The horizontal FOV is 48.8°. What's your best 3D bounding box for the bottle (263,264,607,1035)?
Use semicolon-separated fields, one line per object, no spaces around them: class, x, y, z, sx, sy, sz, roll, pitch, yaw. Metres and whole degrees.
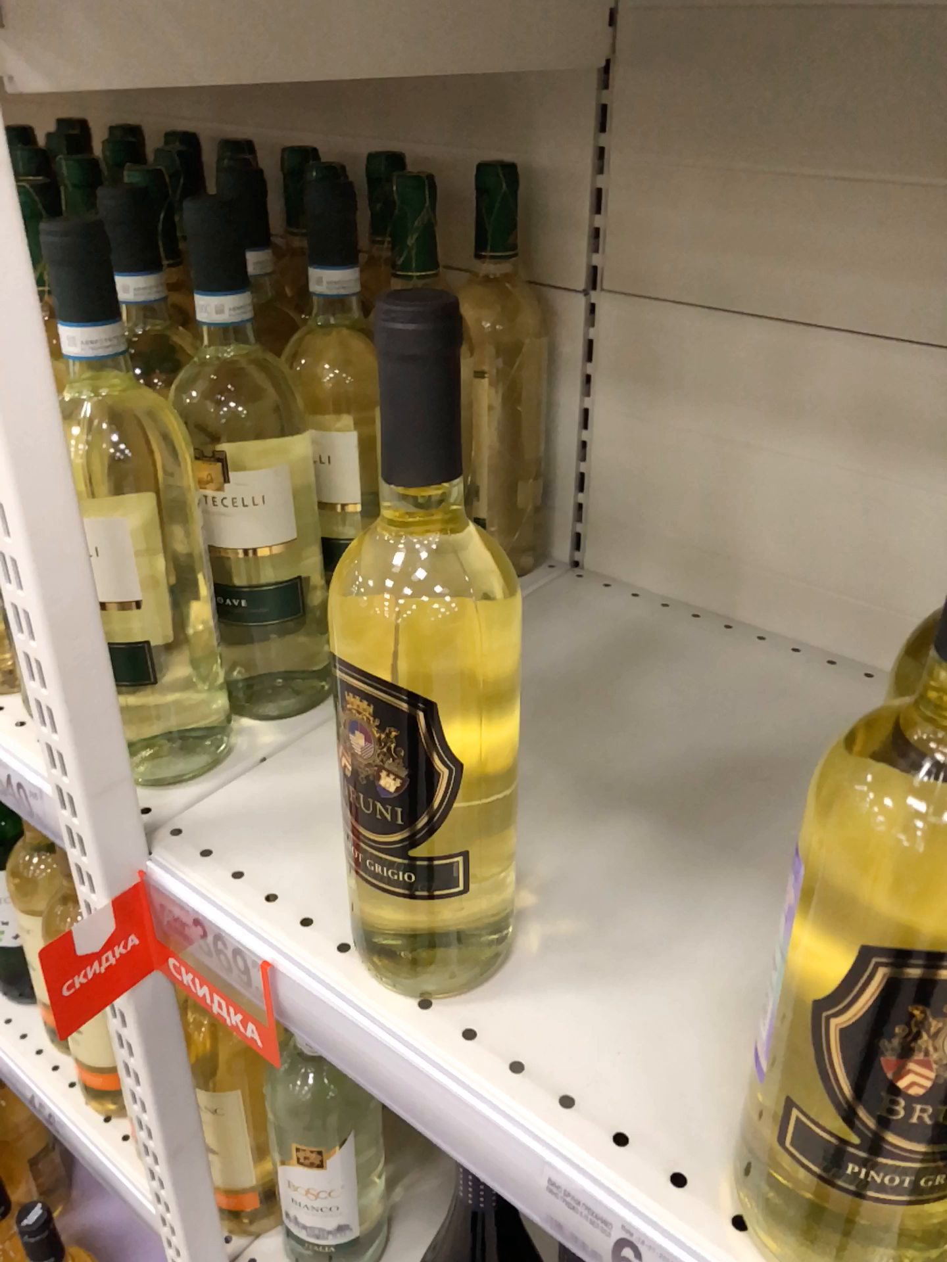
bottle;-0.013;0.016;0.414;0.080;0.288;0.080;0;30;0
